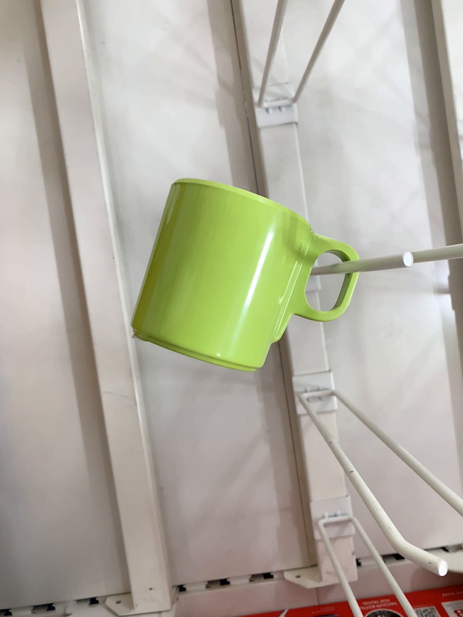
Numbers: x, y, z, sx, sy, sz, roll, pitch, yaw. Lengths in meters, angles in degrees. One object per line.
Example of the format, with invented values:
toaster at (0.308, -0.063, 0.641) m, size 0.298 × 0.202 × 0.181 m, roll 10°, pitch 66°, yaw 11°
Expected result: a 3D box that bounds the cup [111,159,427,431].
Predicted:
cup at (0.013, -0.007, 0.247) m, size 0.100 × 0.110 × 0.080 m, roll -144°, pitch -107°, yaw -84°
